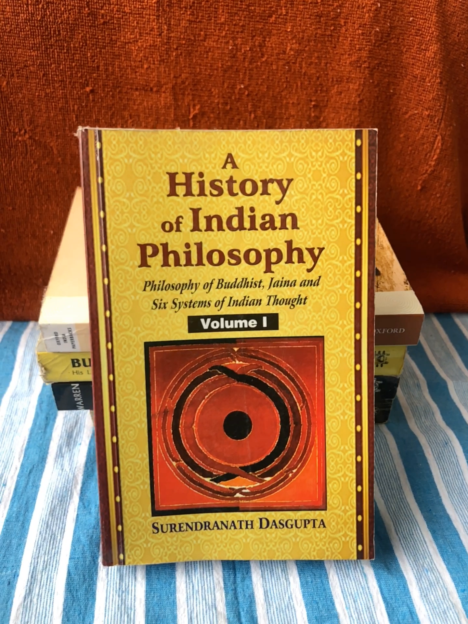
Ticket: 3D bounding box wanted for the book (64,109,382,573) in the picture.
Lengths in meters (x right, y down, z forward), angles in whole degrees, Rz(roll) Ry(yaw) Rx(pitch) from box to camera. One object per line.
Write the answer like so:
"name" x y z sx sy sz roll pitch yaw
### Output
"book" -0.002 0.016 0.268 0.141 0.216 0.048 -2 7 -1
